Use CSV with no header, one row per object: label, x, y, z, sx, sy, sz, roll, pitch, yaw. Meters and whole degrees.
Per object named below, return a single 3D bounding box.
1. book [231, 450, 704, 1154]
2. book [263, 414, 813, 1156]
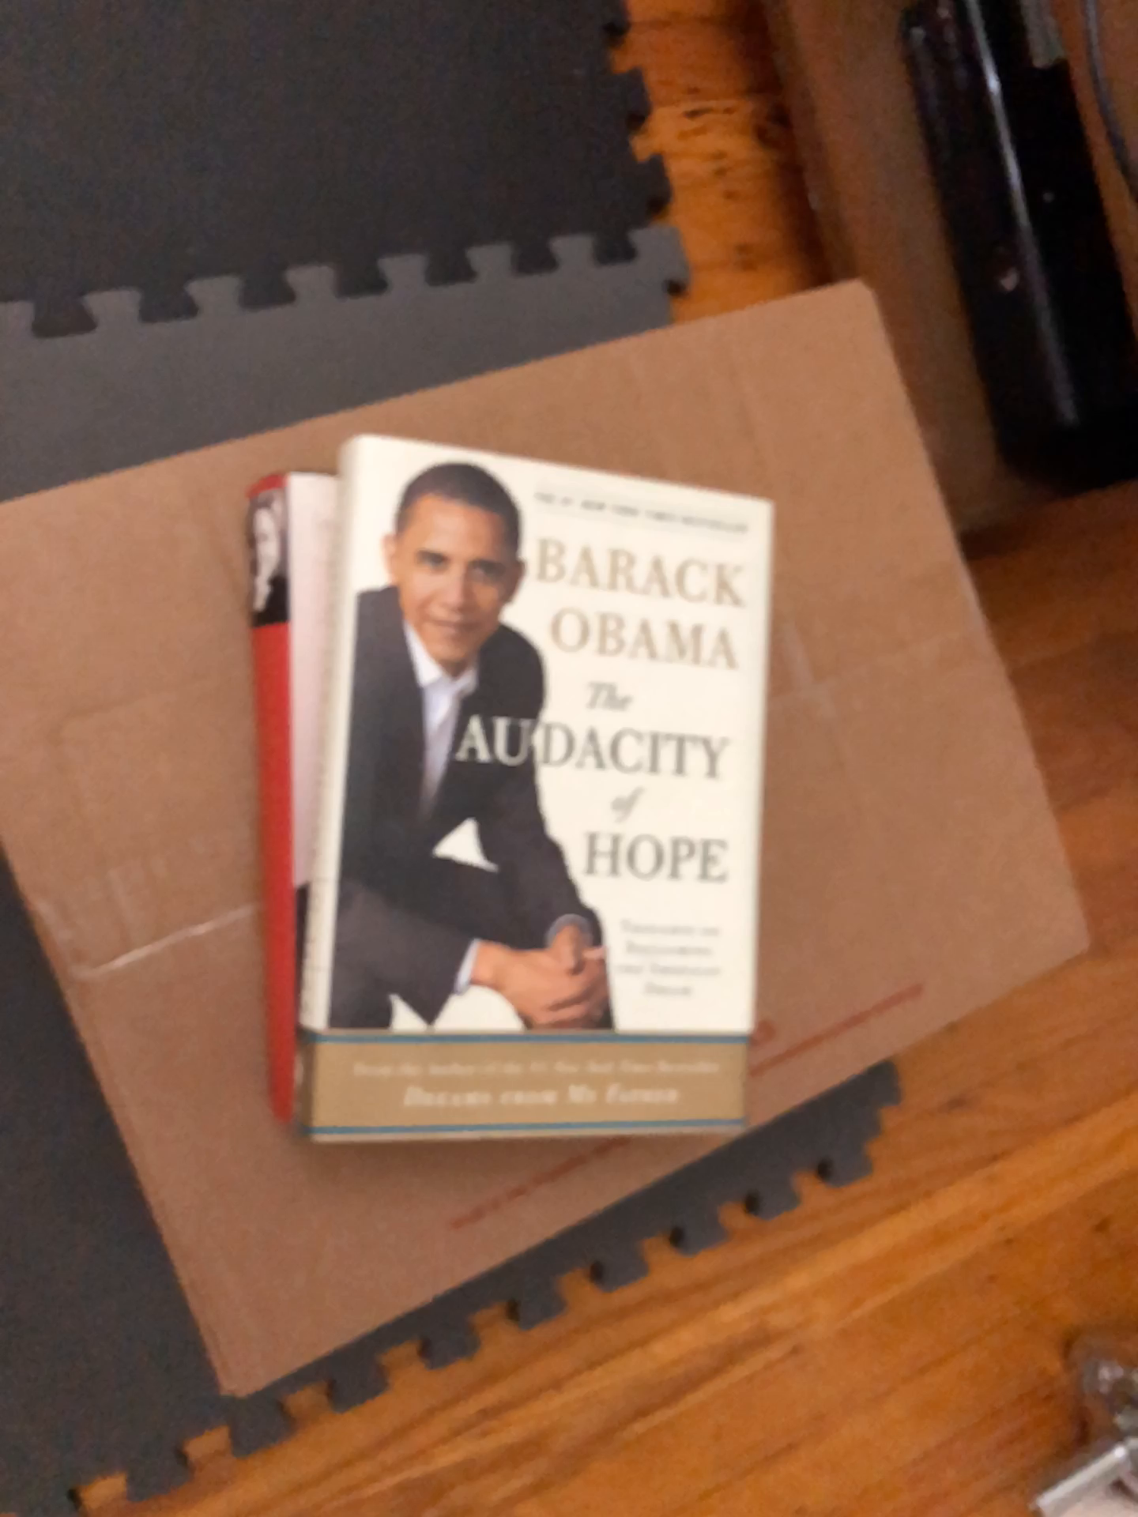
book,-0.039,0.013,0.502,0.170,0.040,0.250,-2,88,-21
book,-0.007,0.015,0.481,0.190,0.040,0.250,5,85,-20
